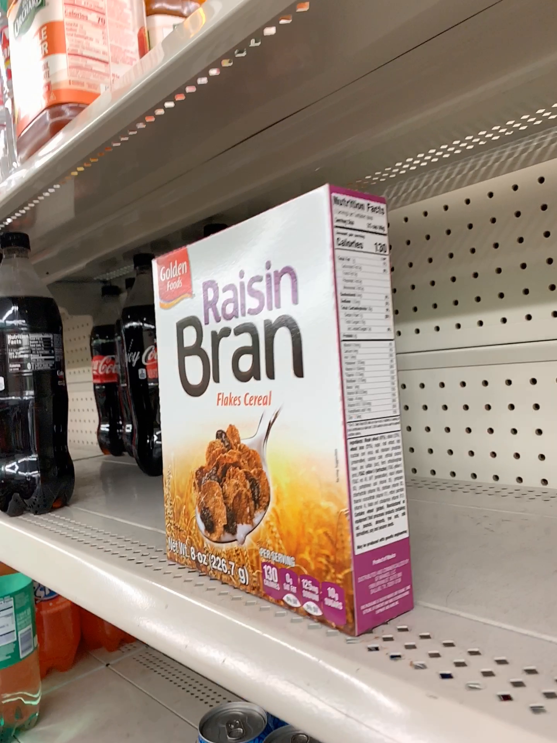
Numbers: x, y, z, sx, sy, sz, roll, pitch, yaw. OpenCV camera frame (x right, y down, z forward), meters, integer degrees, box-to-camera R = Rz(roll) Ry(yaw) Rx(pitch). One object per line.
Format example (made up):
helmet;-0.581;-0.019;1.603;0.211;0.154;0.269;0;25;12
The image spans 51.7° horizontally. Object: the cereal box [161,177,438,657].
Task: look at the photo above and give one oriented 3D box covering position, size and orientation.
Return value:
cereal box;-0.001;0.024;0.365;0.050;0.230;0.190;-3;-1;-38
